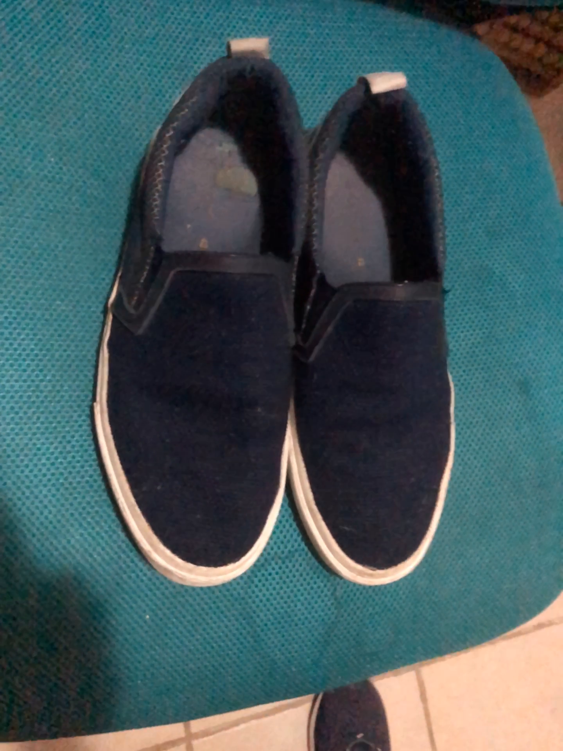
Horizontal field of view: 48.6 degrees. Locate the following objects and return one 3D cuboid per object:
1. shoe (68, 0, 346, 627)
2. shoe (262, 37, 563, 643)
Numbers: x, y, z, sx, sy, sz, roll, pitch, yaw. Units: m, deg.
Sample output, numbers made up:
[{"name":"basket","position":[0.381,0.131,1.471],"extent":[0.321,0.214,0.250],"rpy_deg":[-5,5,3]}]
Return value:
[{"name":"shoe","position":[-0.045,-0.034,0.339],"extent":[0.120,0.110,0.290],"rpy_deg":[2,82,-17]},{"name":"shoe","position":[0.068,-0.019,0.364],"extent":[0.120,0.110,0.290],"rpy_deg":[-1,83,-17]}]
